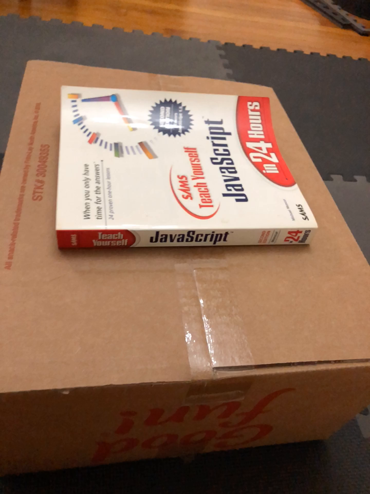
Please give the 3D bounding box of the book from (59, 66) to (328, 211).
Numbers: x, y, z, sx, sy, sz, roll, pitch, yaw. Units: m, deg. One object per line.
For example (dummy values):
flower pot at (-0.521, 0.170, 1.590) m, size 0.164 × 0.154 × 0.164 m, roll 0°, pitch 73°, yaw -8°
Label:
book at (-0.002, -0.120, 0.432) m, size 0.240 × 0.030 × 0.201 m, roll -2°, pitch 49°, yaw -13°
